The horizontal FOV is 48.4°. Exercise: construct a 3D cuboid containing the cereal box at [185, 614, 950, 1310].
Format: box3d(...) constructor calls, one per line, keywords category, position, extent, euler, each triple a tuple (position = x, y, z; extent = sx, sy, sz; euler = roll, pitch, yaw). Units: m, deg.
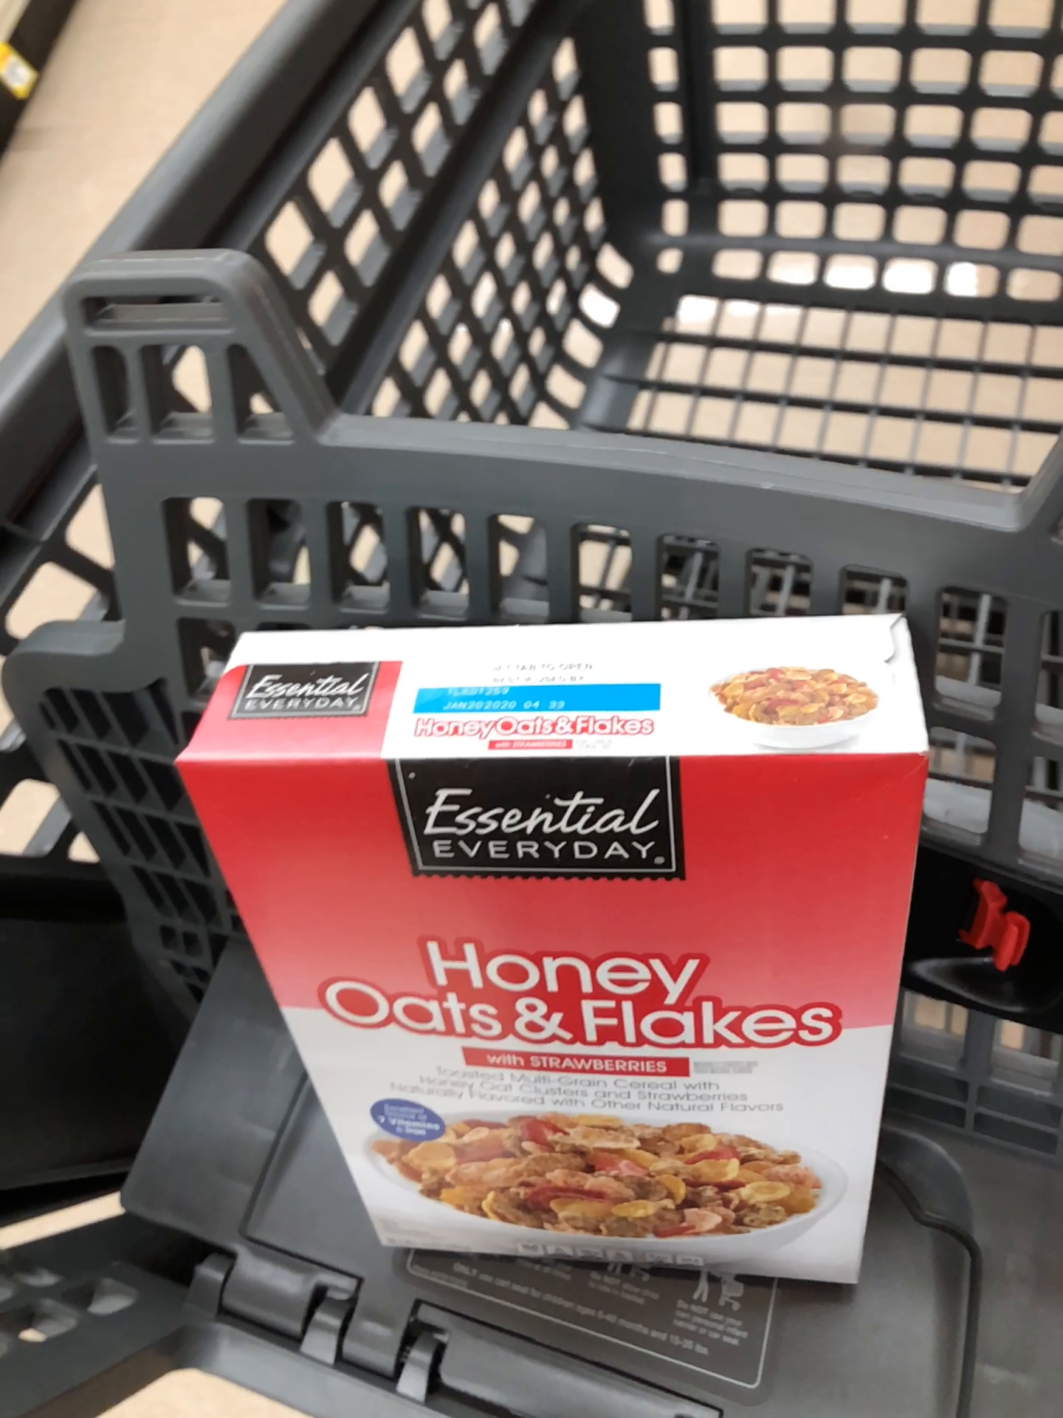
box3d(category="cereal box", position=(0.023, 0.096, 0.379), extent=(0.180, 0.260, 0.060), euler=(-1, 39, 10))
